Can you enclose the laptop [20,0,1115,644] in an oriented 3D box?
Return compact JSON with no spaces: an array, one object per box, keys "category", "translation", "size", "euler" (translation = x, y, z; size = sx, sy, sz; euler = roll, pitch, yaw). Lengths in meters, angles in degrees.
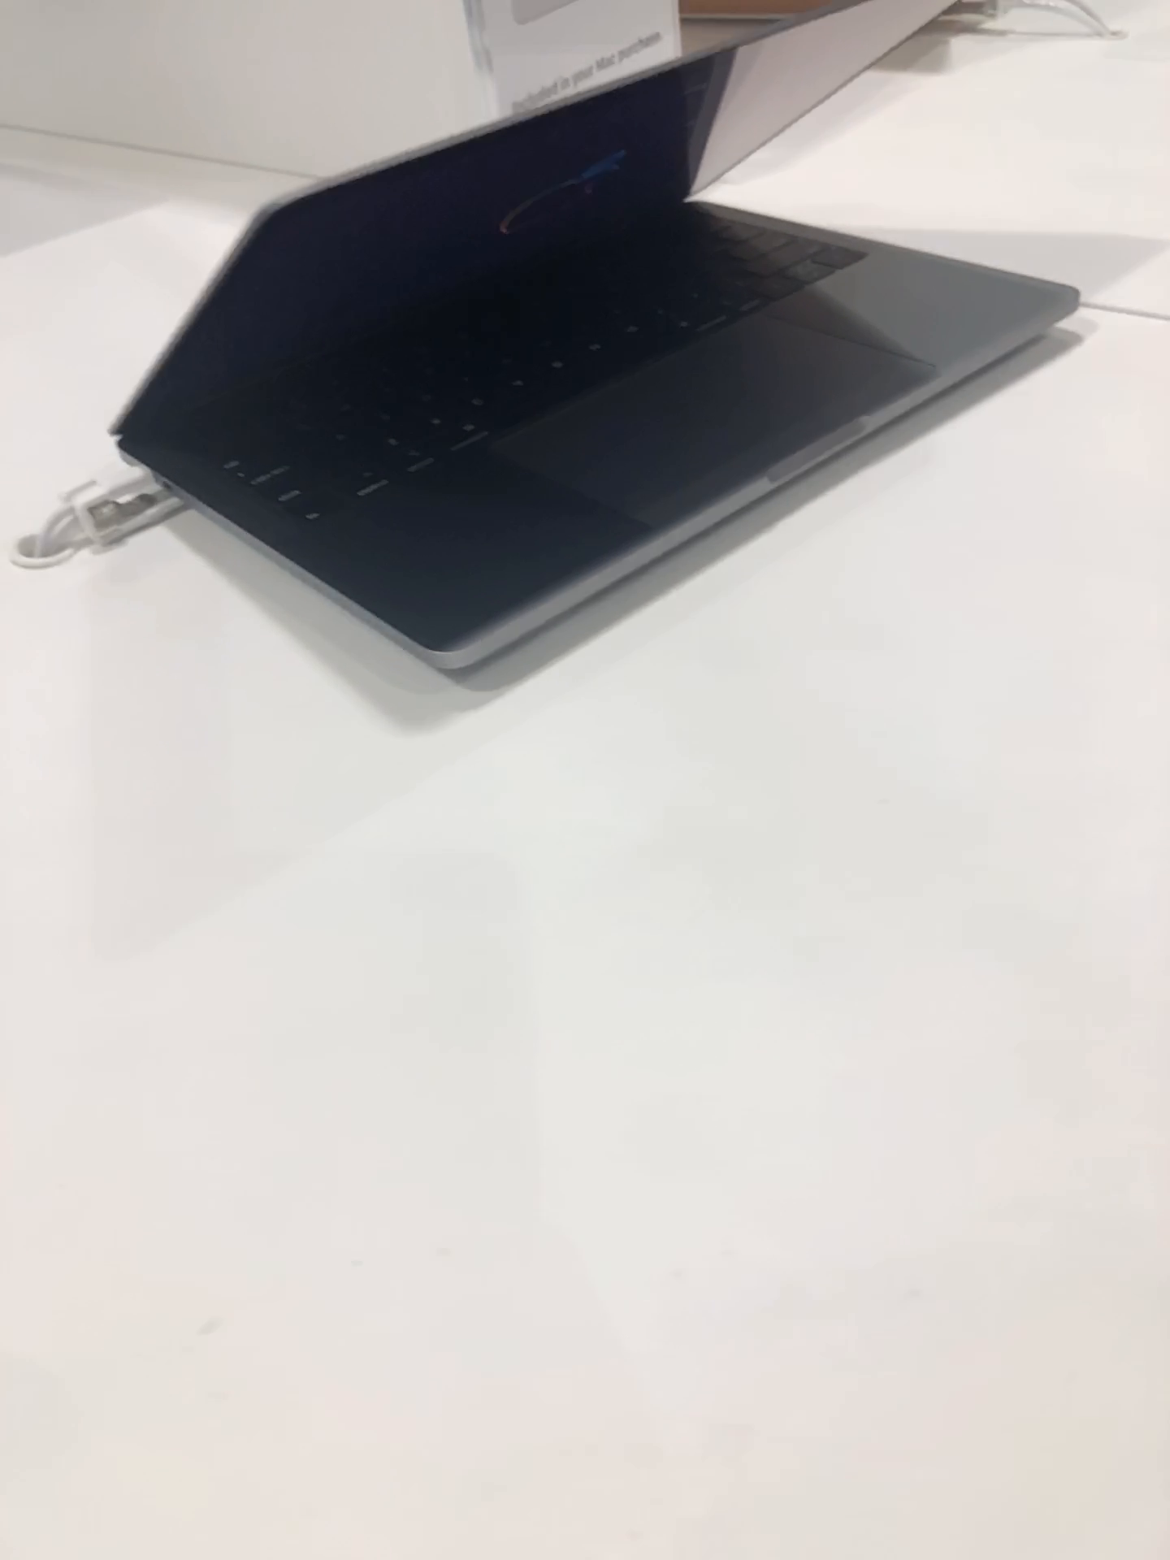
[{"category":"laptop","translation":[0.003,-0.197,0.451],"size":[0.295,0.109,0.205],"euler":[-33,47,-27]}]
